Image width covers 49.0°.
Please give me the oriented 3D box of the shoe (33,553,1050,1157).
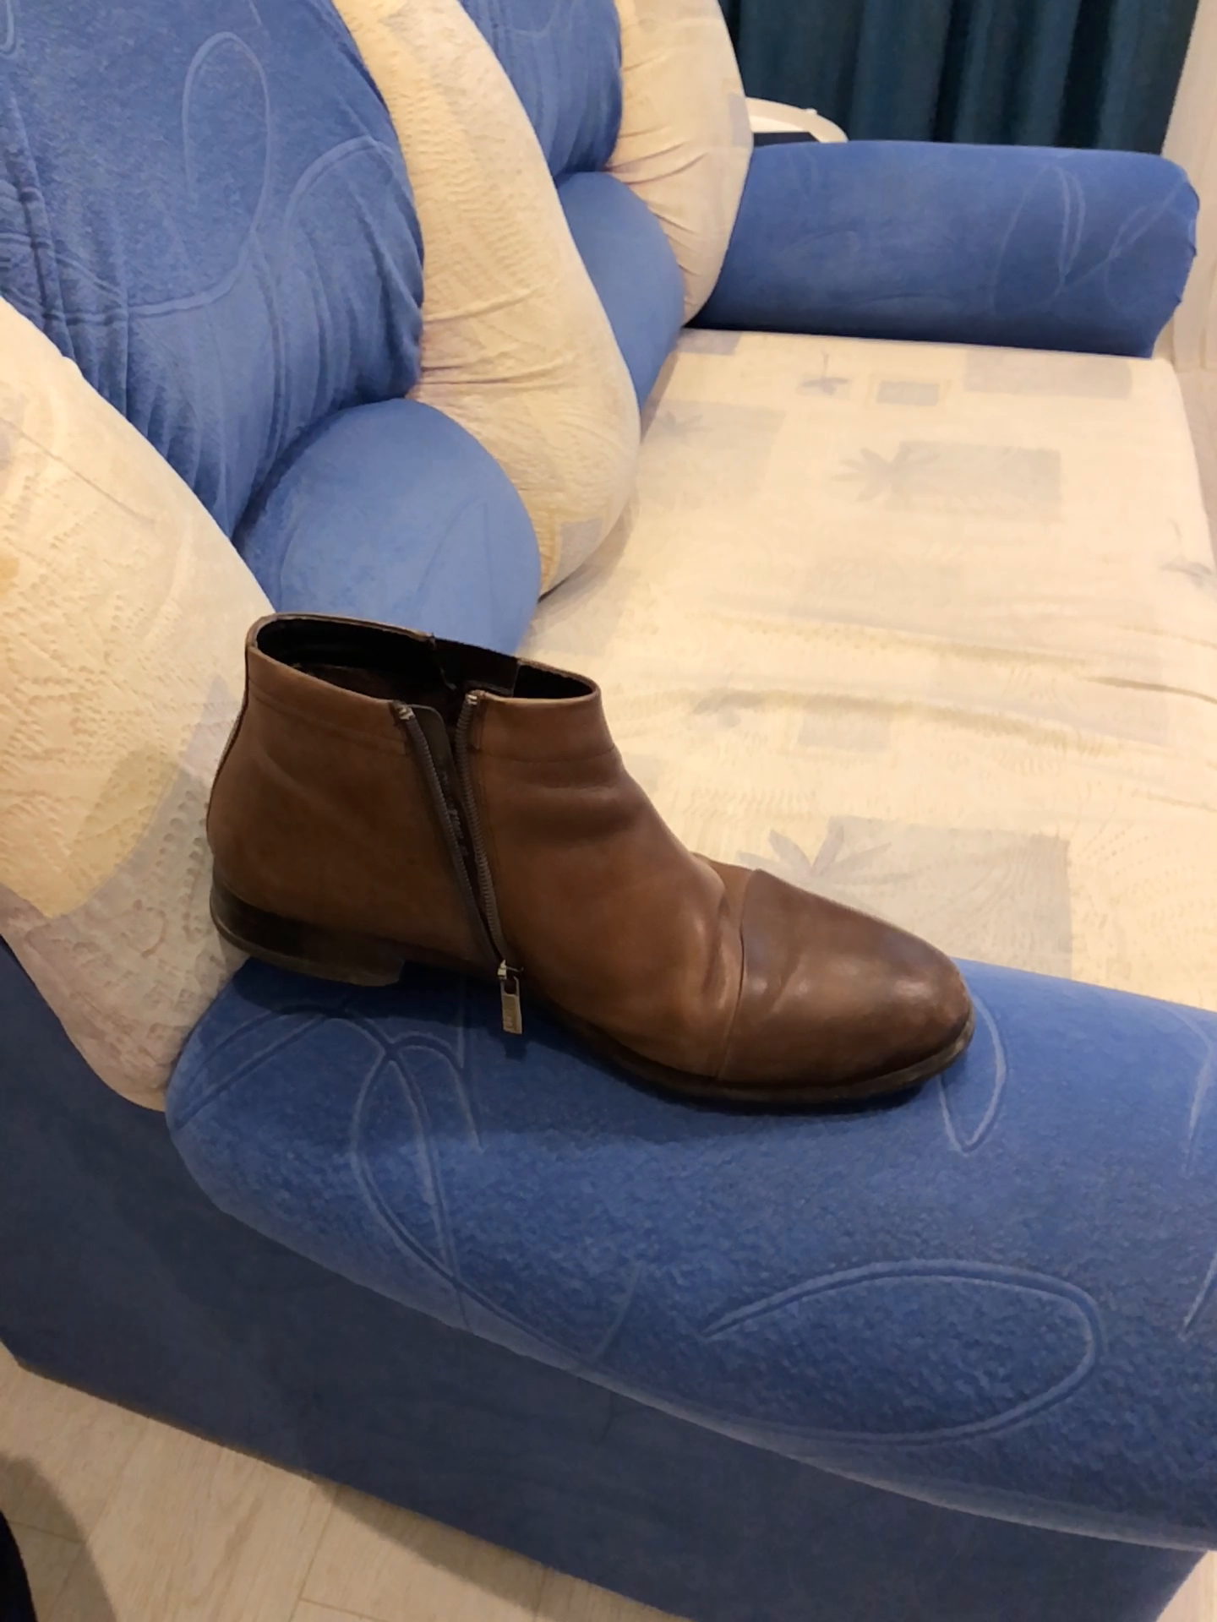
[{"bbox_3d":[-0.018,0.011,0.482,0.310,0.139,0.111,8,41,9],"label":"shoe"}]
